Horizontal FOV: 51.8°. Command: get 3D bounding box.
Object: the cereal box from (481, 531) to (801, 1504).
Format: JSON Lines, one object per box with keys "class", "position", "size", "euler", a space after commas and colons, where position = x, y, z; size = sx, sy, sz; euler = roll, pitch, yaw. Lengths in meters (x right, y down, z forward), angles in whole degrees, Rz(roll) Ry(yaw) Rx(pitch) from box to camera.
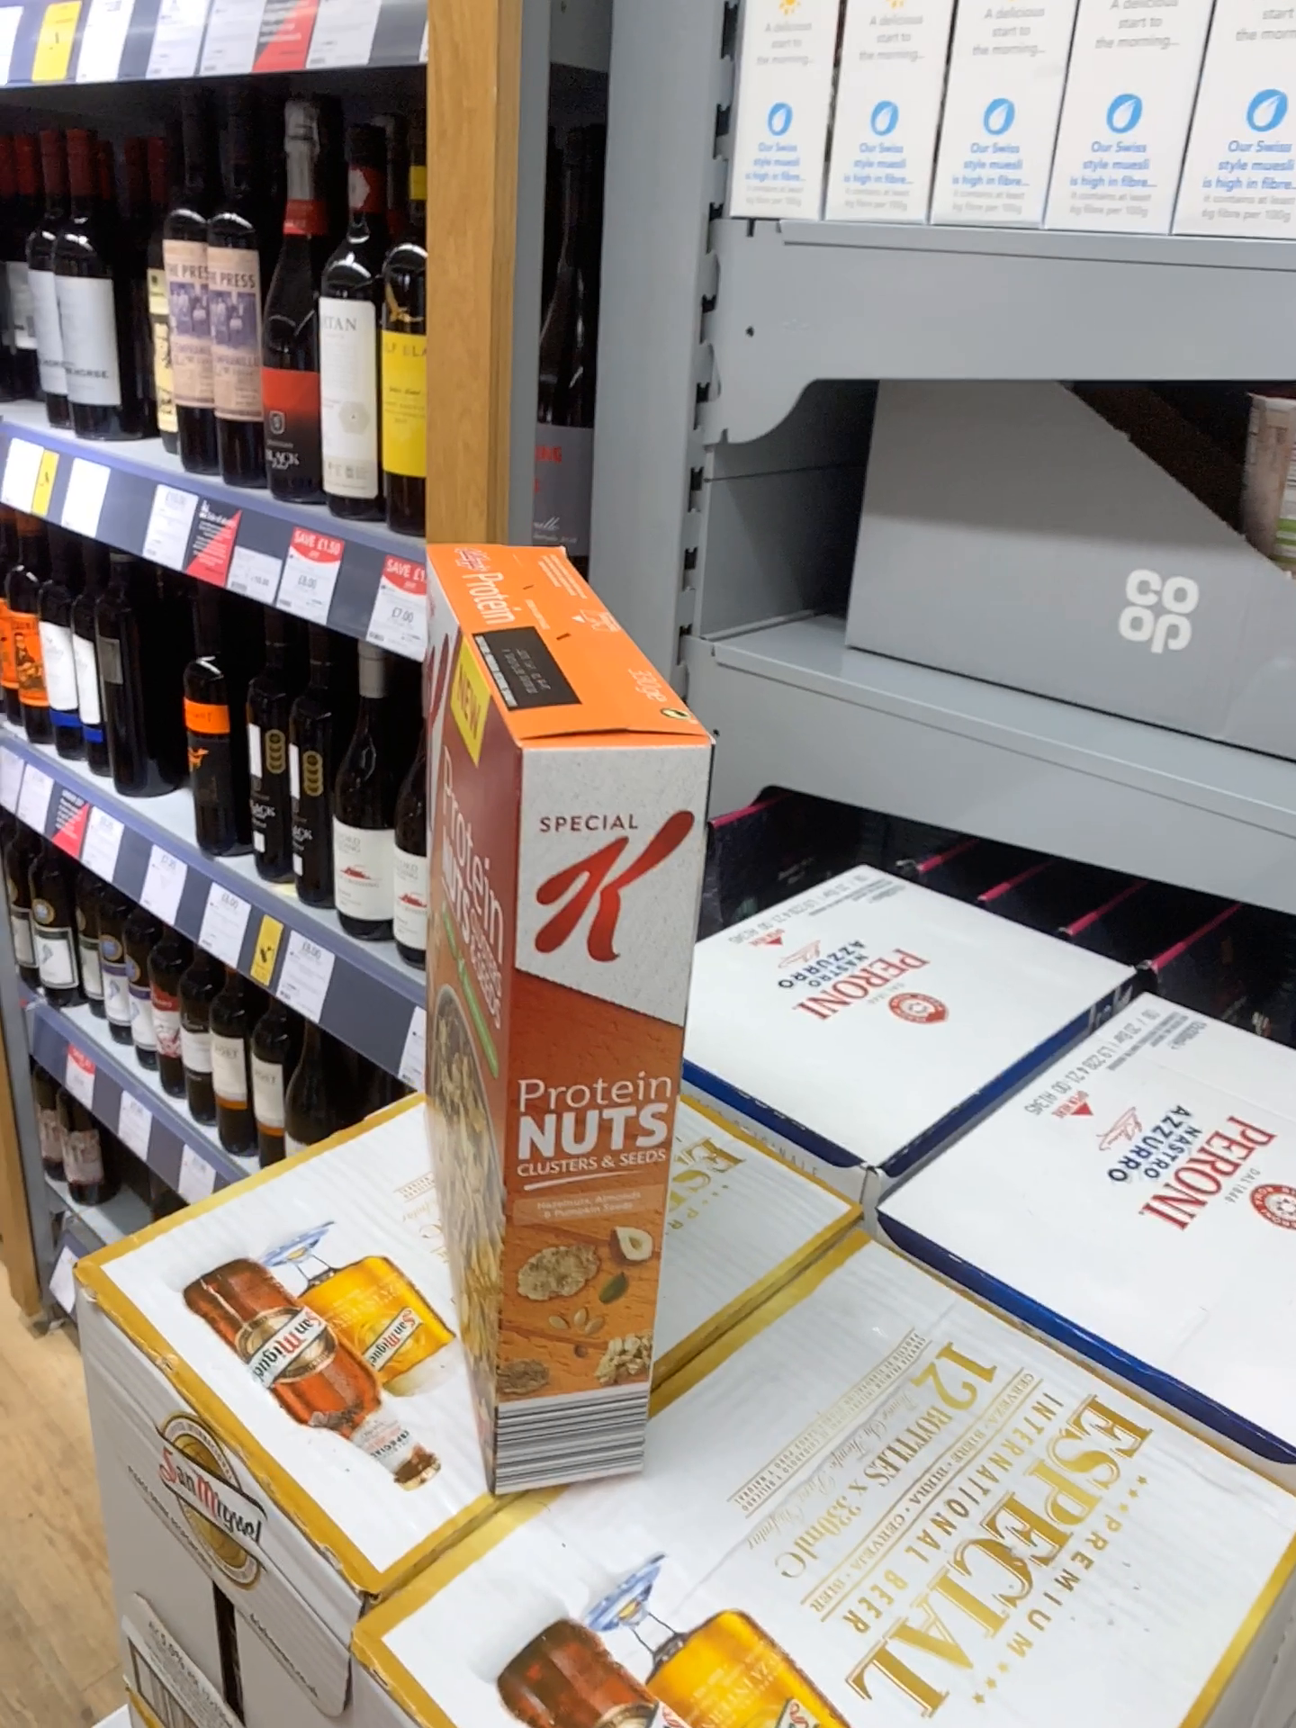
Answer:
{"class": "cereal box", "position": [-0.018, 0.034, 0.426], "size": [0.050, 0.238, 0.192], "euler": [-2, 25, -13]}
